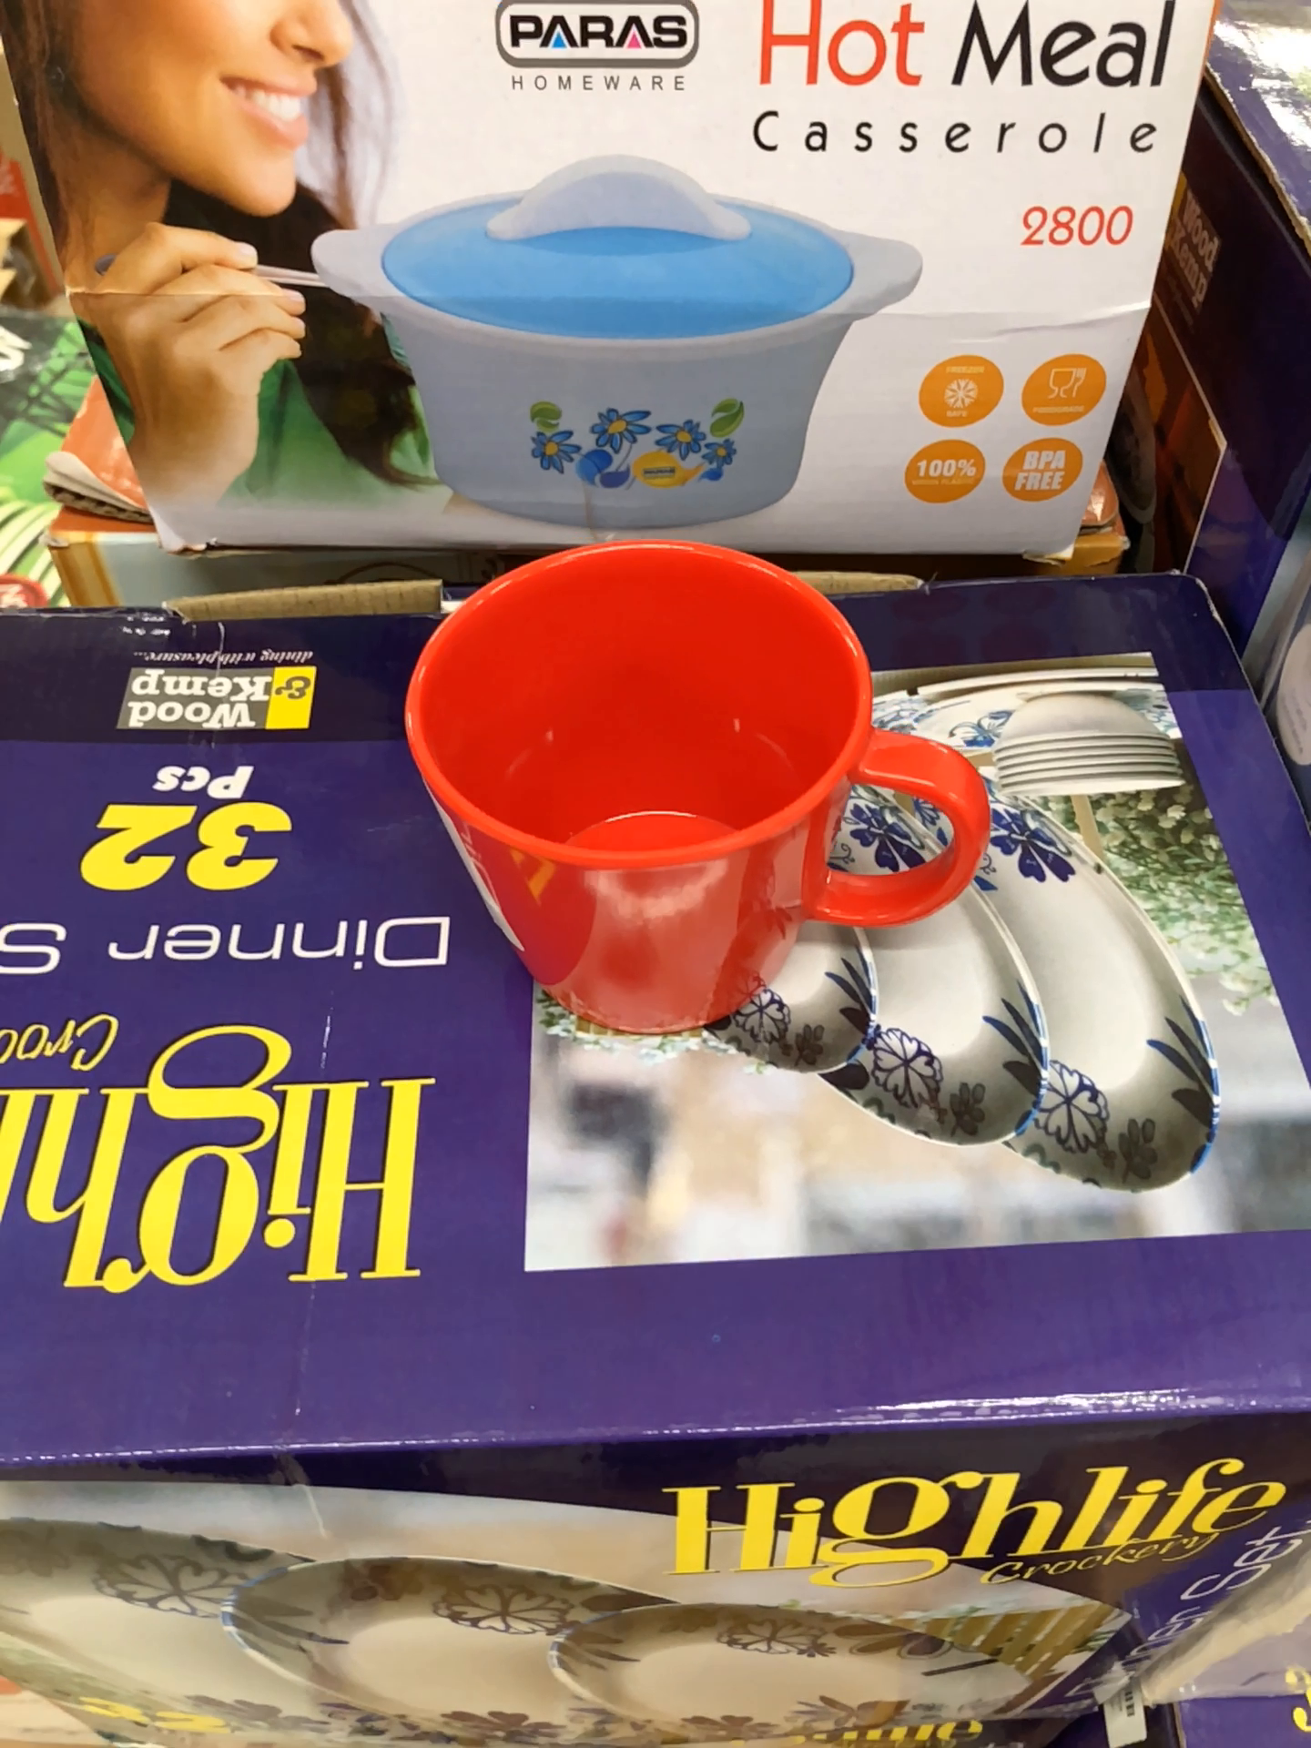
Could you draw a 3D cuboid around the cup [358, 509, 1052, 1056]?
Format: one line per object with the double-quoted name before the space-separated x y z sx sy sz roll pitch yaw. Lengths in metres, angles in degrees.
"cup" 0.006 -0.018 0.254 0.100 0.050 0.080 -2 50 -2
